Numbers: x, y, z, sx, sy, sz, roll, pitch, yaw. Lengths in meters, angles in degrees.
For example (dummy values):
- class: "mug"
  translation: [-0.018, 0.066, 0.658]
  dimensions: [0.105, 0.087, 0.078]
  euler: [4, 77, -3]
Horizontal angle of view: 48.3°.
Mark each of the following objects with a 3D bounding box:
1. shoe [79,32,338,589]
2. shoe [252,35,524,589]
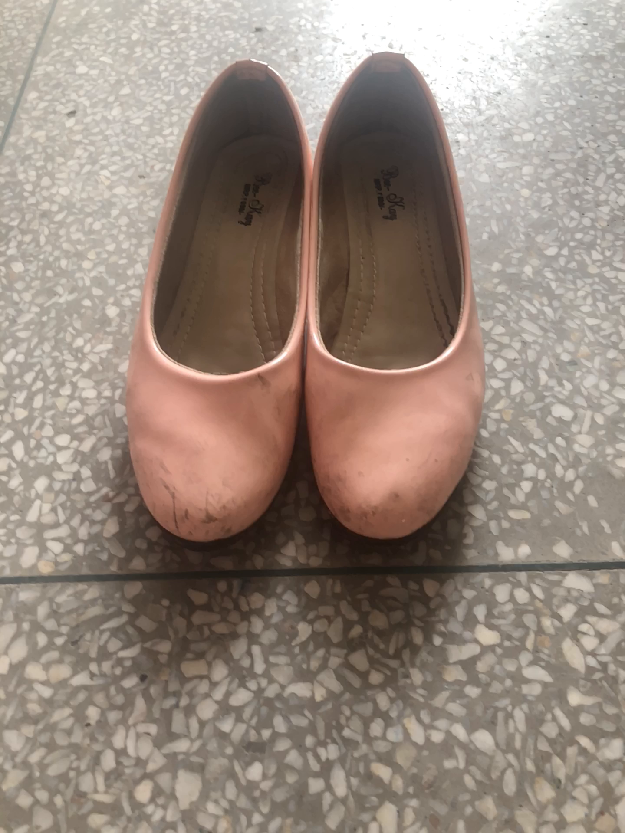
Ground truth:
- class: "shoe"
  translation: [-0.036, -0.056, 0.334]
  dimensions: [0.090, 0.070, 0.260]
  euler: [1, 70, 4]
- class: "shoe"
  translation: [0.032, -0.060, 0.323]
  dimensions: [0.090, 0.070, 0.260]
  euler: [1, 63, 4]
